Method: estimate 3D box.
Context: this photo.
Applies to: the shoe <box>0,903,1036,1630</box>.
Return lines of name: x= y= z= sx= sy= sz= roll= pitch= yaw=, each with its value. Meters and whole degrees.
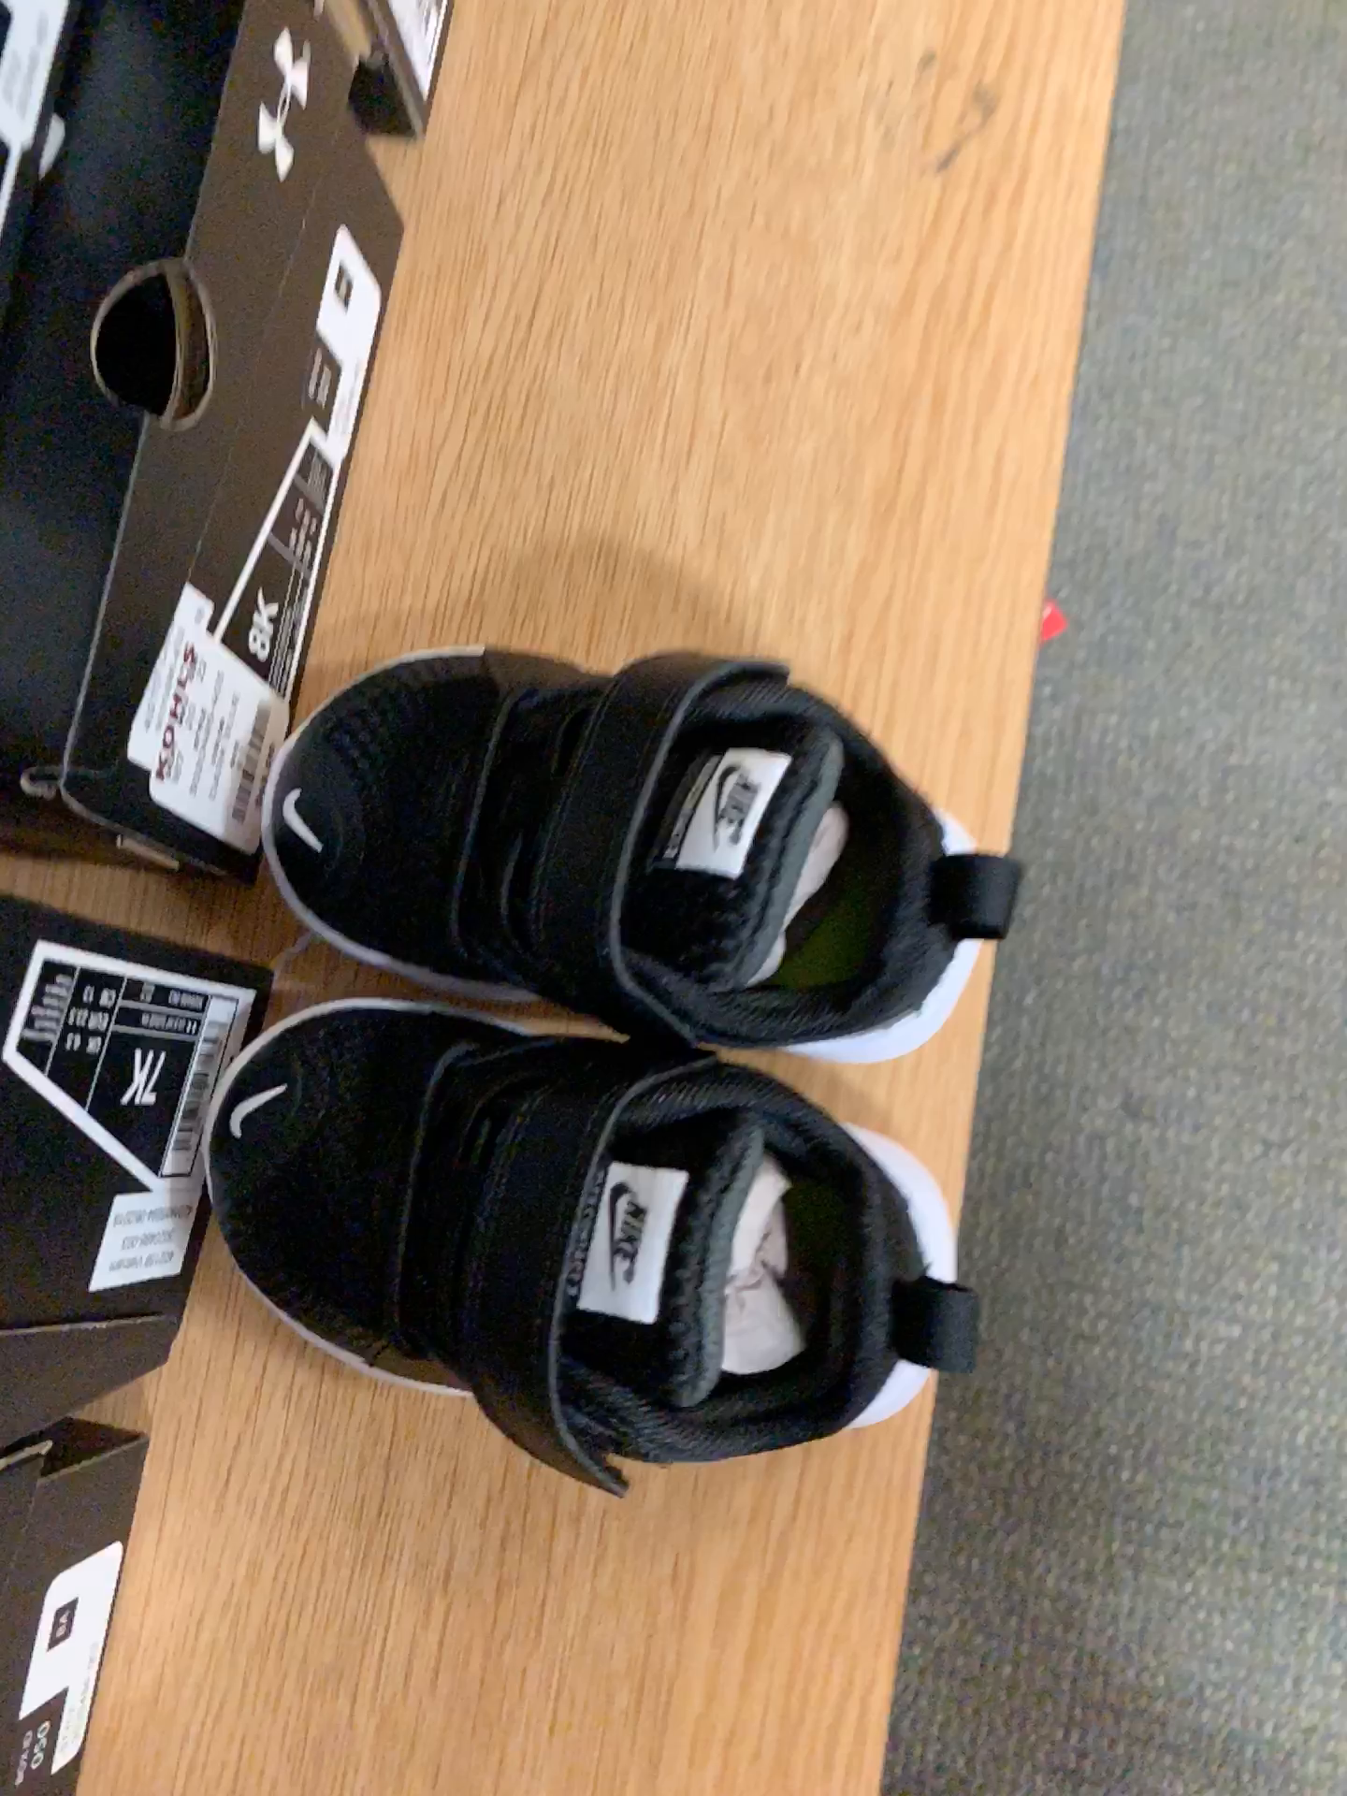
shoe: x=-0.022 y=0.055 z=0.231 sx=0.140 sy=0.060 sz=0.070 roll=13 pitch=82 yaw=8

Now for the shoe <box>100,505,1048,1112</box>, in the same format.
shoe: x=-0.014 y=-0.013 z=0.251 sx=0.140 sy=0.060 sz=0.070 roll=13 pitch=82 yaw=8
